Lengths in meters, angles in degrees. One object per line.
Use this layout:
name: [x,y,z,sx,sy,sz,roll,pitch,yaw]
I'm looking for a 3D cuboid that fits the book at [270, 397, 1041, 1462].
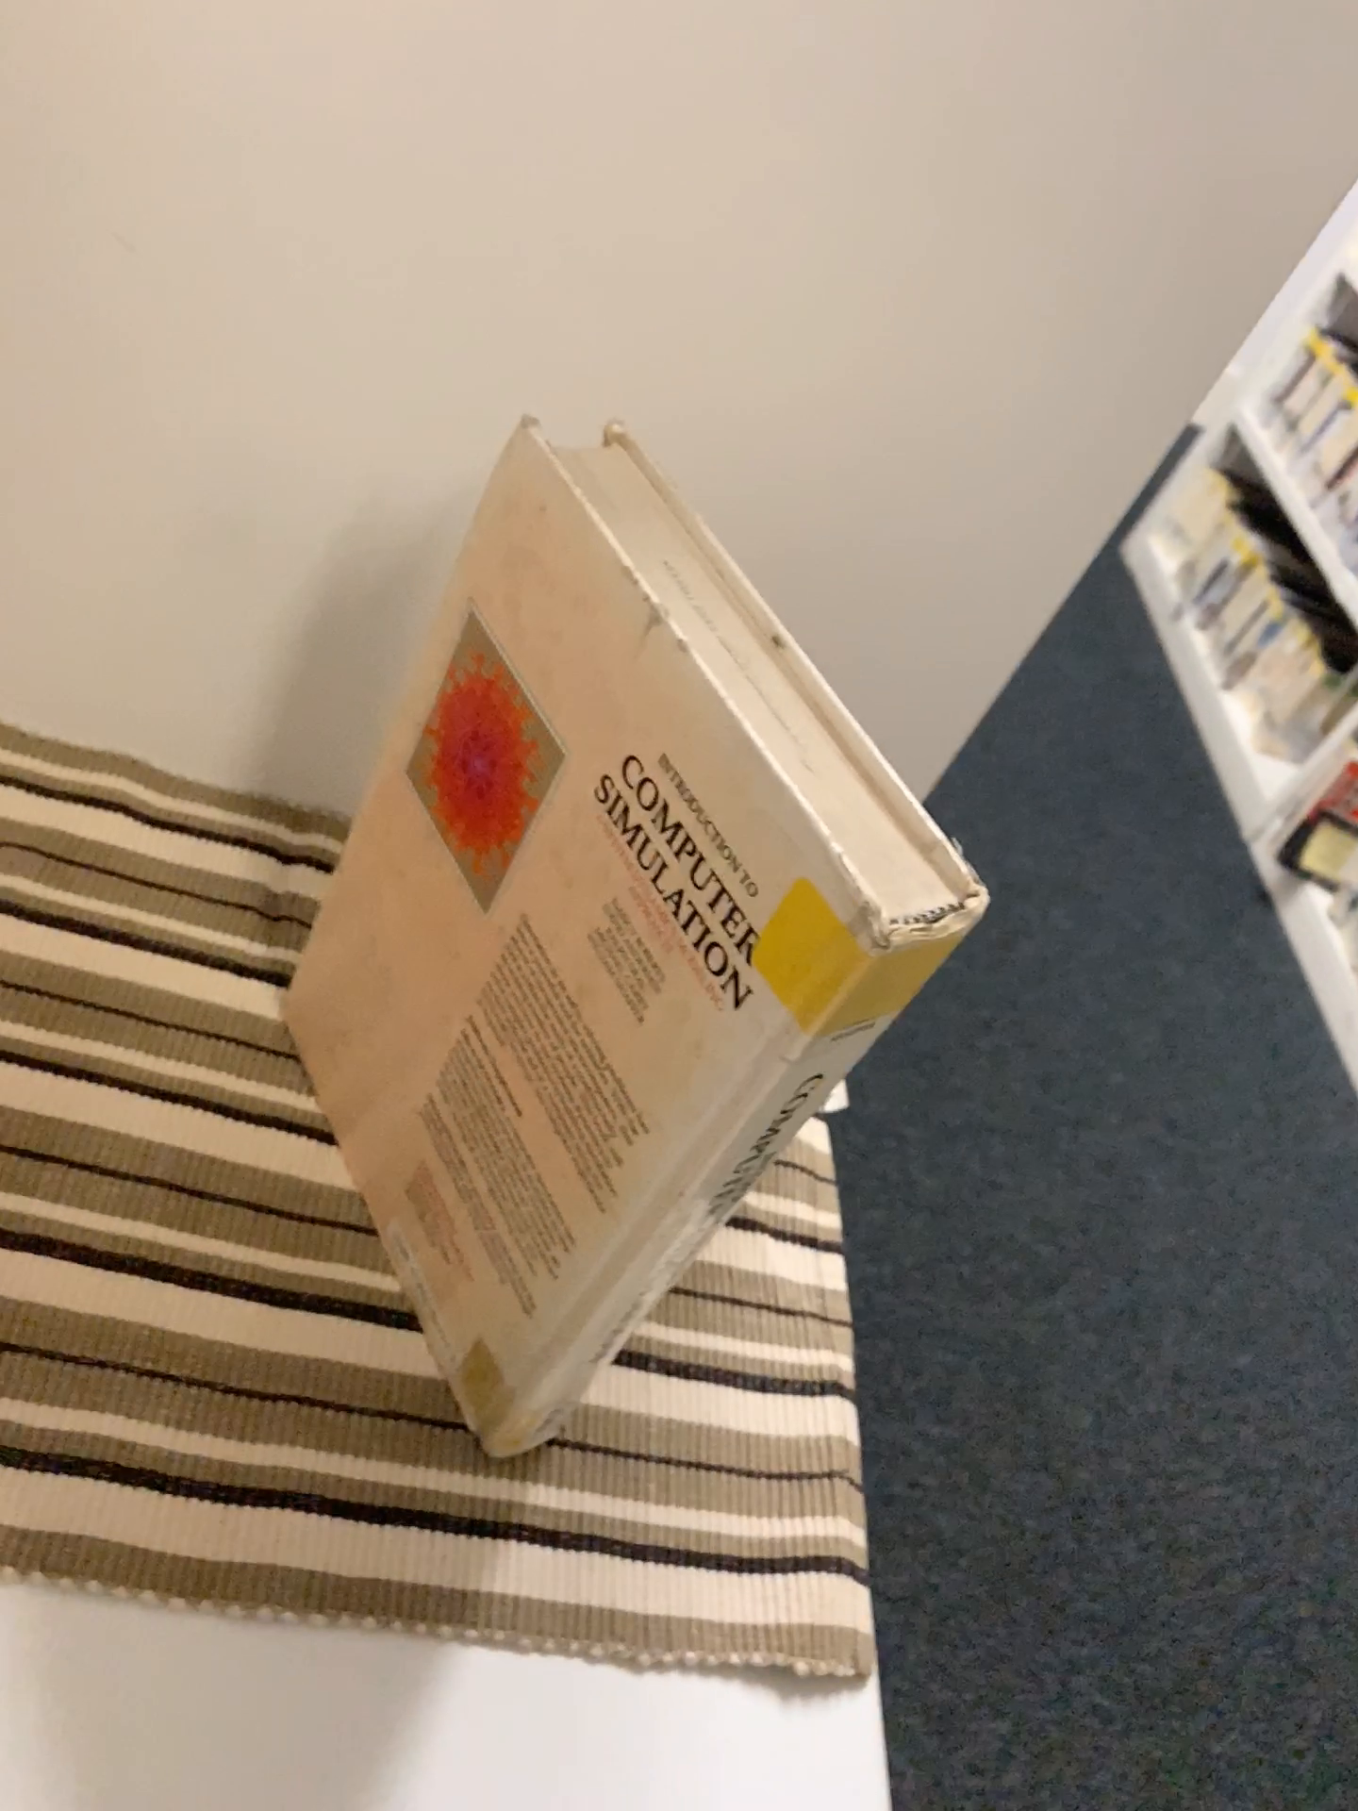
book: [-0.034,0.017,0.385,0.040,0.238,0.171,-11,54,-40]
